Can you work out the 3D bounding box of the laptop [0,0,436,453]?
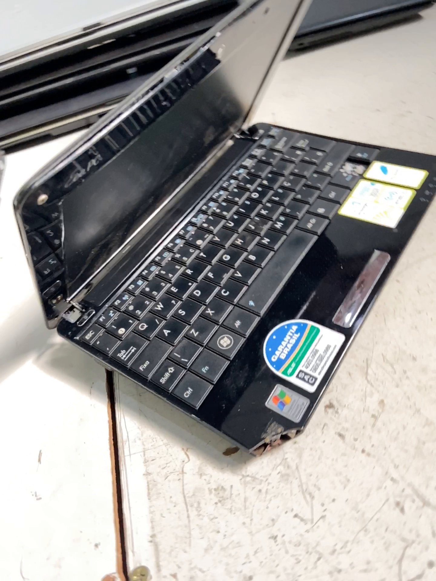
[{"bbox_3d":[0.010,-0.081,0.275,0.168,0.137,0.263,23,59,31],"label":"laptop"}]
